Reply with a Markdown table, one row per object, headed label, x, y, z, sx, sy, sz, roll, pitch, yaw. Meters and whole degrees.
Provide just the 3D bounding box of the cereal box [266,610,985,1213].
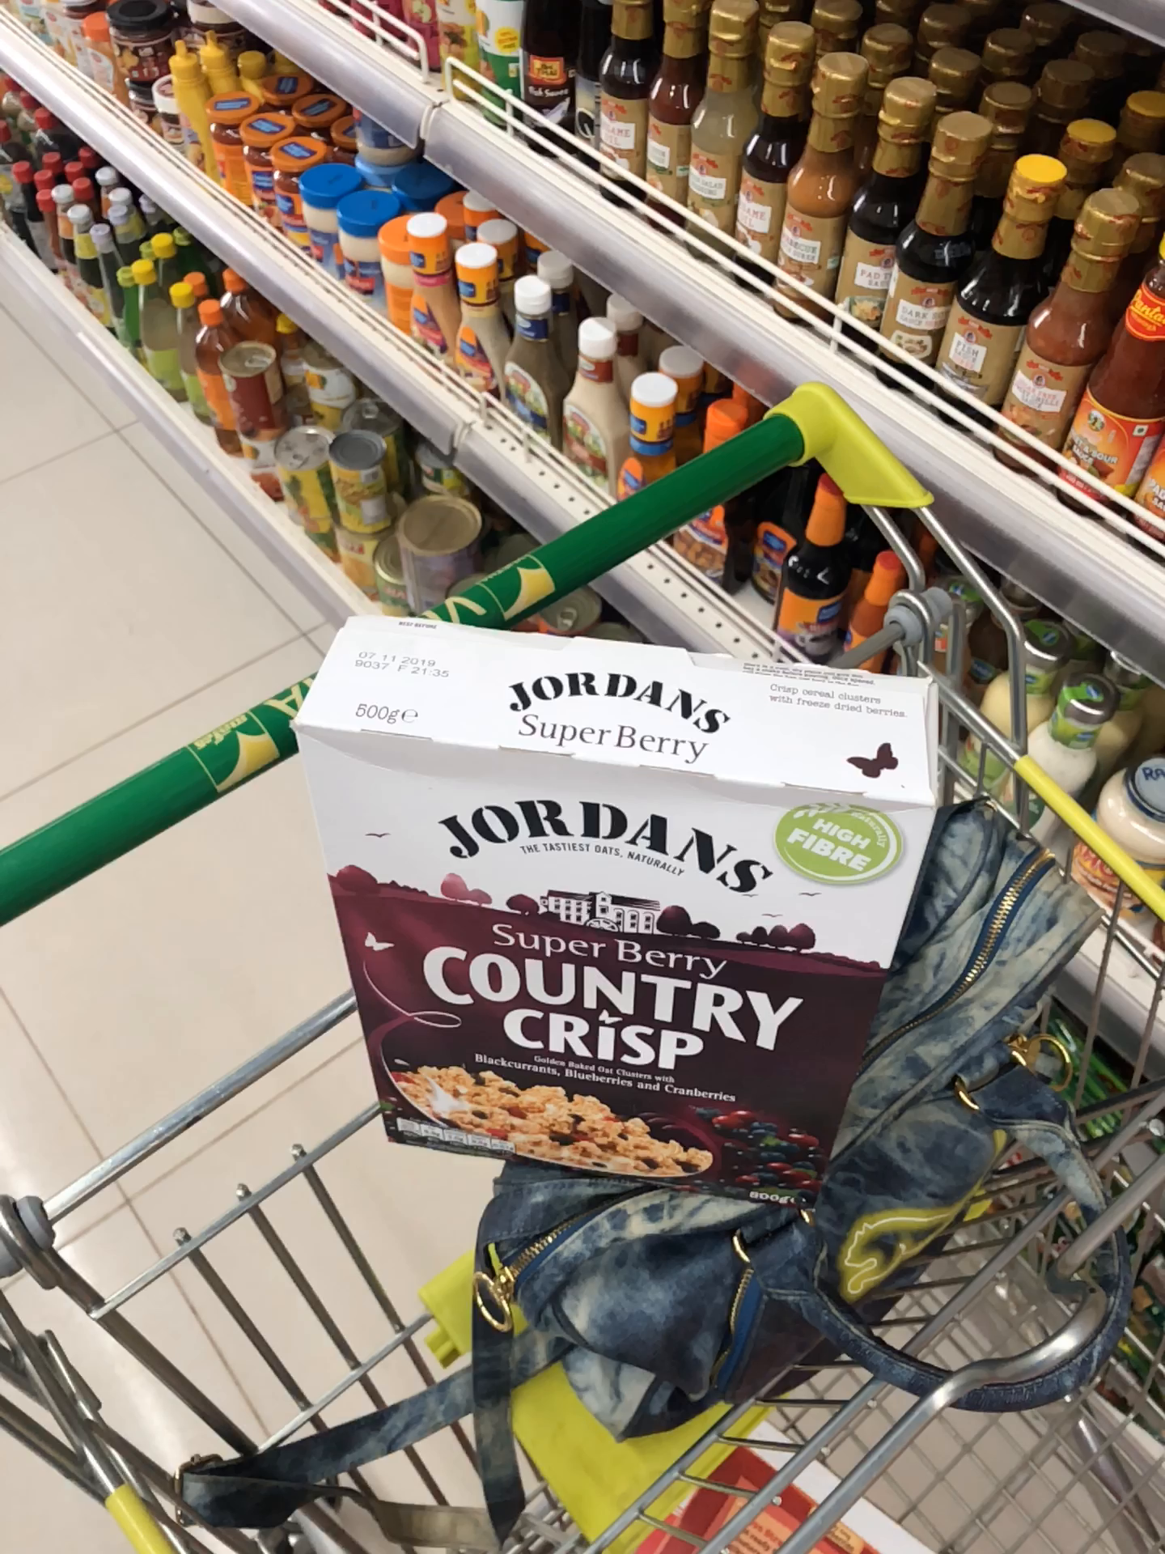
| label | x | y | z | sx | sy | sz | roll | pitch | yaw |
| --- | --- | --- | --- | --- | --- | --- | --- | --- | --- |
| cereal box | 0.010 | 0.058 | 0.423 | 0.180 | 0.230 | 0.050 | 6 | 48 | 4 |
